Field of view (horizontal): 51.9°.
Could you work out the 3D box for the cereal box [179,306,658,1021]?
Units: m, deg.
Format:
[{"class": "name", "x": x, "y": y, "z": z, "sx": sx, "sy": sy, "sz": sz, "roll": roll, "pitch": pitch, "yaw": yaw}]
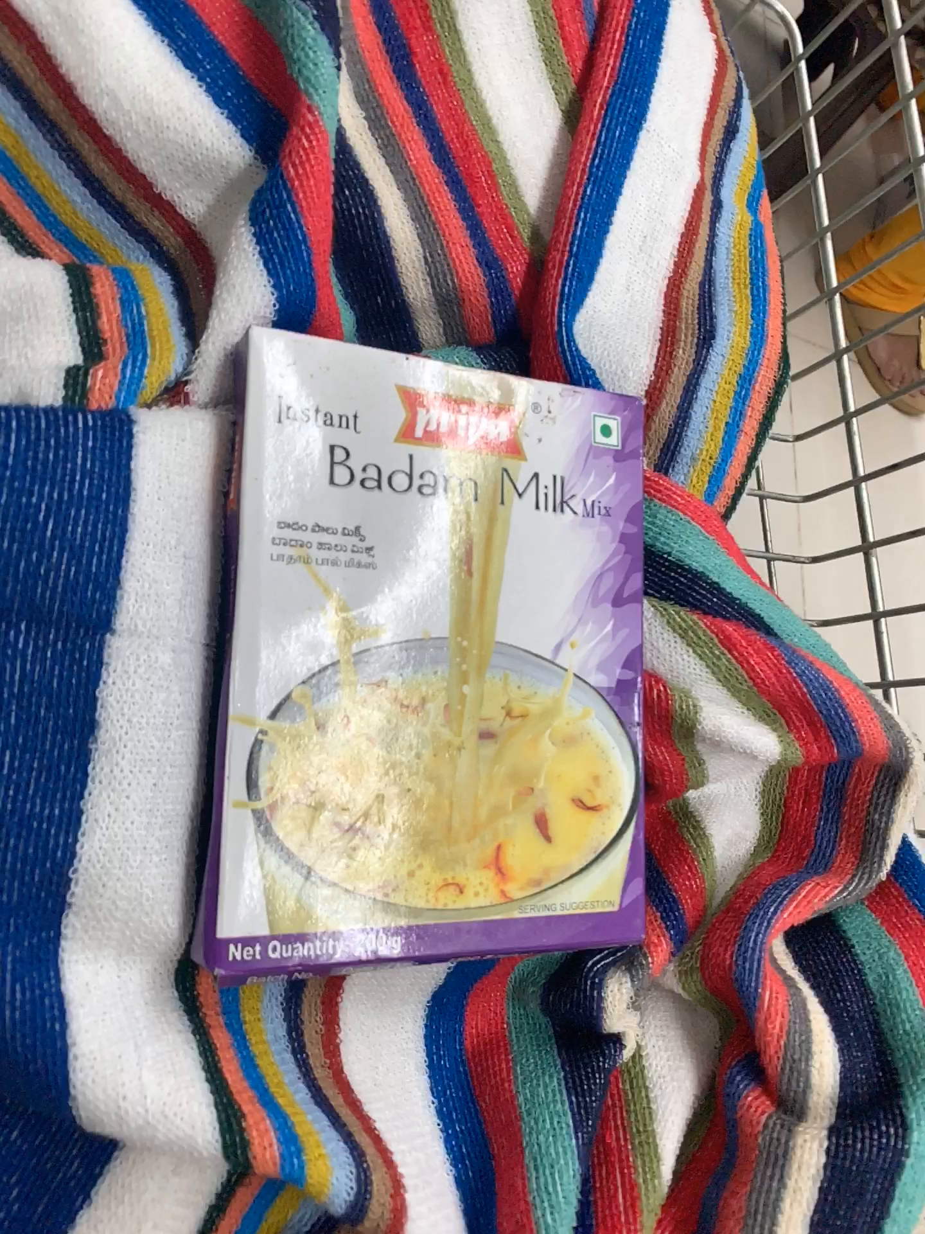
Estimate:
[{"class": "cereal box", "x": -0.006, "y": 0.013, "z": 0.252, "sx": 0.120, "sy": 0.030, "sz": 0.160, "roll": 5, "pitch": 82, "yaw": -26}]
